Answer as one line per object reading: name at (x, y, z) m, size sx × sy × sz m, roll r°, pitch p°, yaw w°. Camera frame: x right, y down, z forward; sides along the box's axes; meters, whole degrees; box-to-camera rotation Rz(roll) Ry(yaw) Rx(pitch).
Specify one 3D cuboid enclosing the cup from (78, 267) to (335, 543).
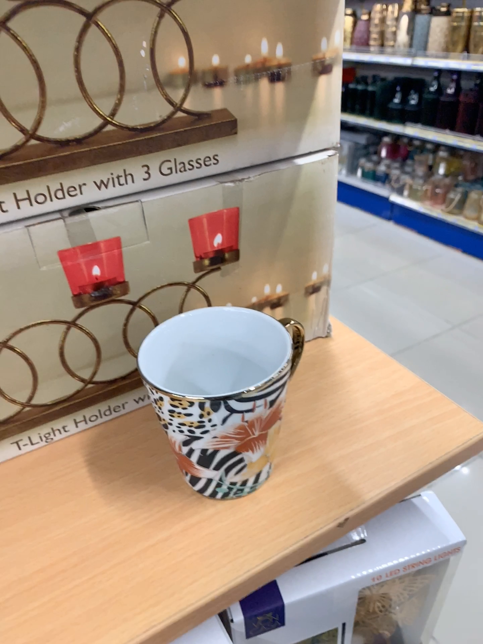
cup at (-0.013, 0.034, 0.257) m, size 0.100 × 0.080 × 0.070 m, roll -29°, pitch 40°, yaw -36°
